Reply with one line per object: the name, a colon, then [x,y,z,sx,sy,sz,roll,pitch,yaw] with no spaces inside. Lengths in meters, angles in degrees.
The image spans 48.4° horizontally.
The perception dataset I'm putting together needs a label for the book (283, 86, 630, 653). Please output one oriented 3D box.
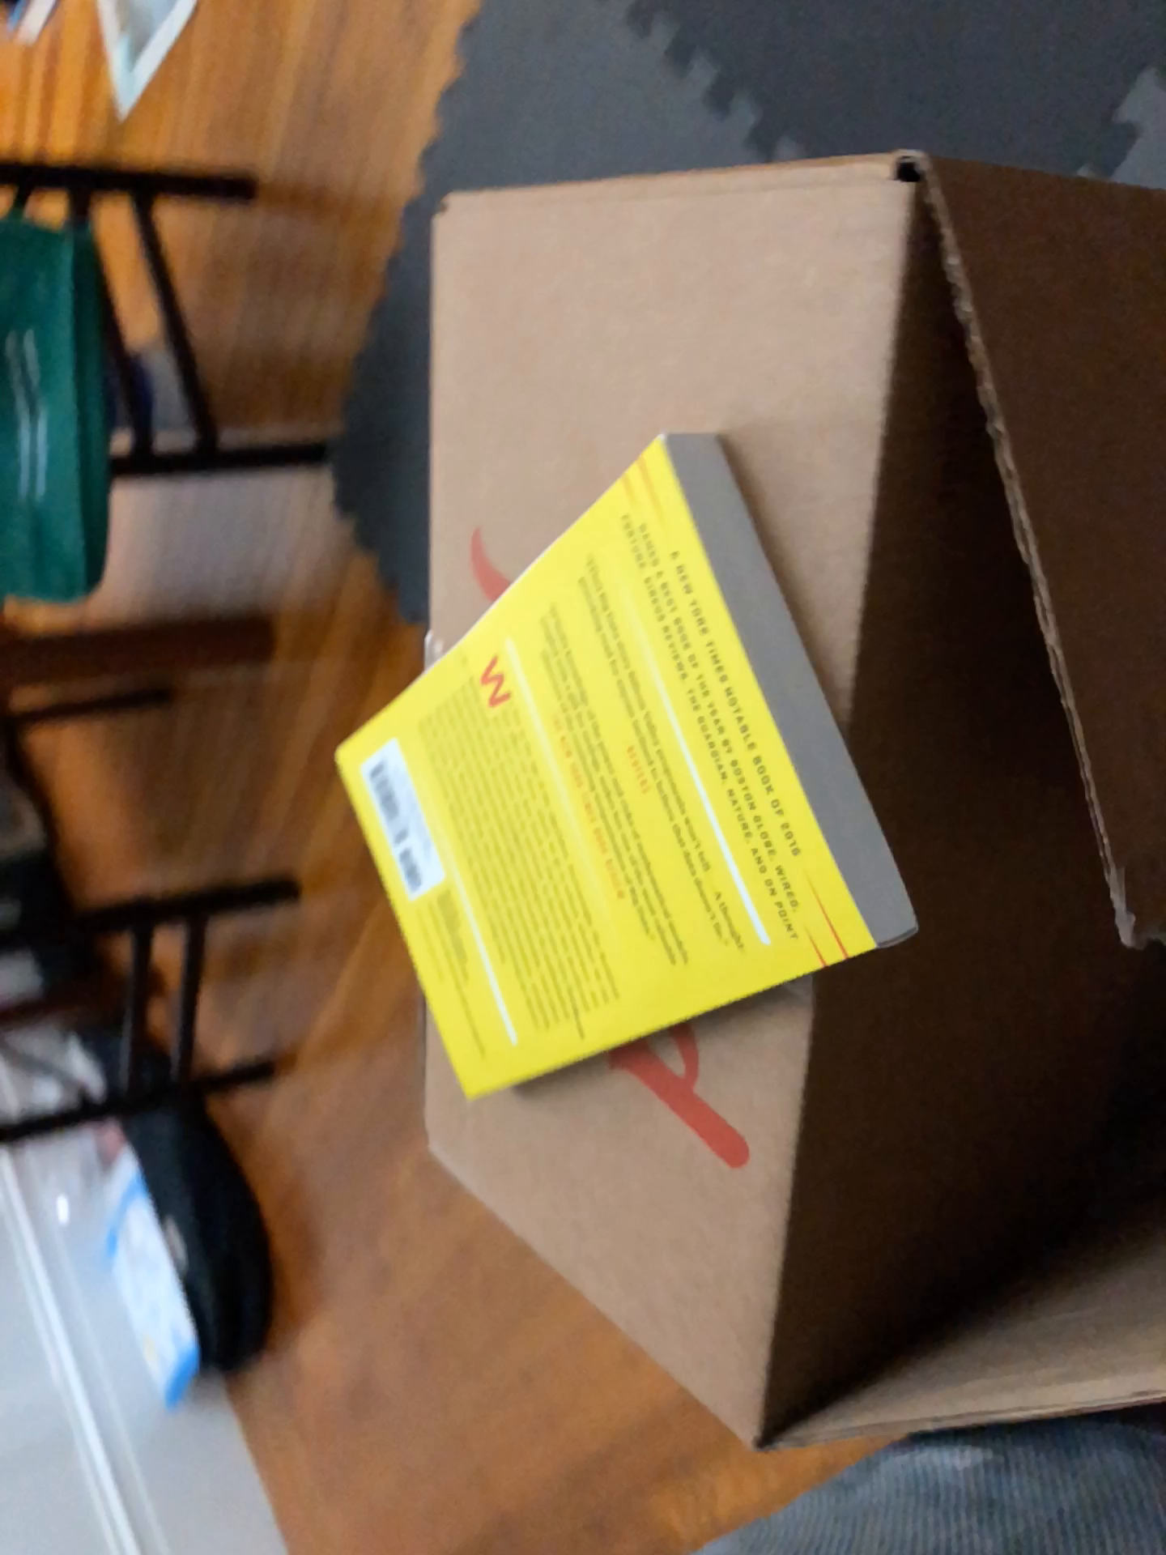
book: [-0.072,-0.176,0.609,0.221,0.020,0.150,-36,70,50]
